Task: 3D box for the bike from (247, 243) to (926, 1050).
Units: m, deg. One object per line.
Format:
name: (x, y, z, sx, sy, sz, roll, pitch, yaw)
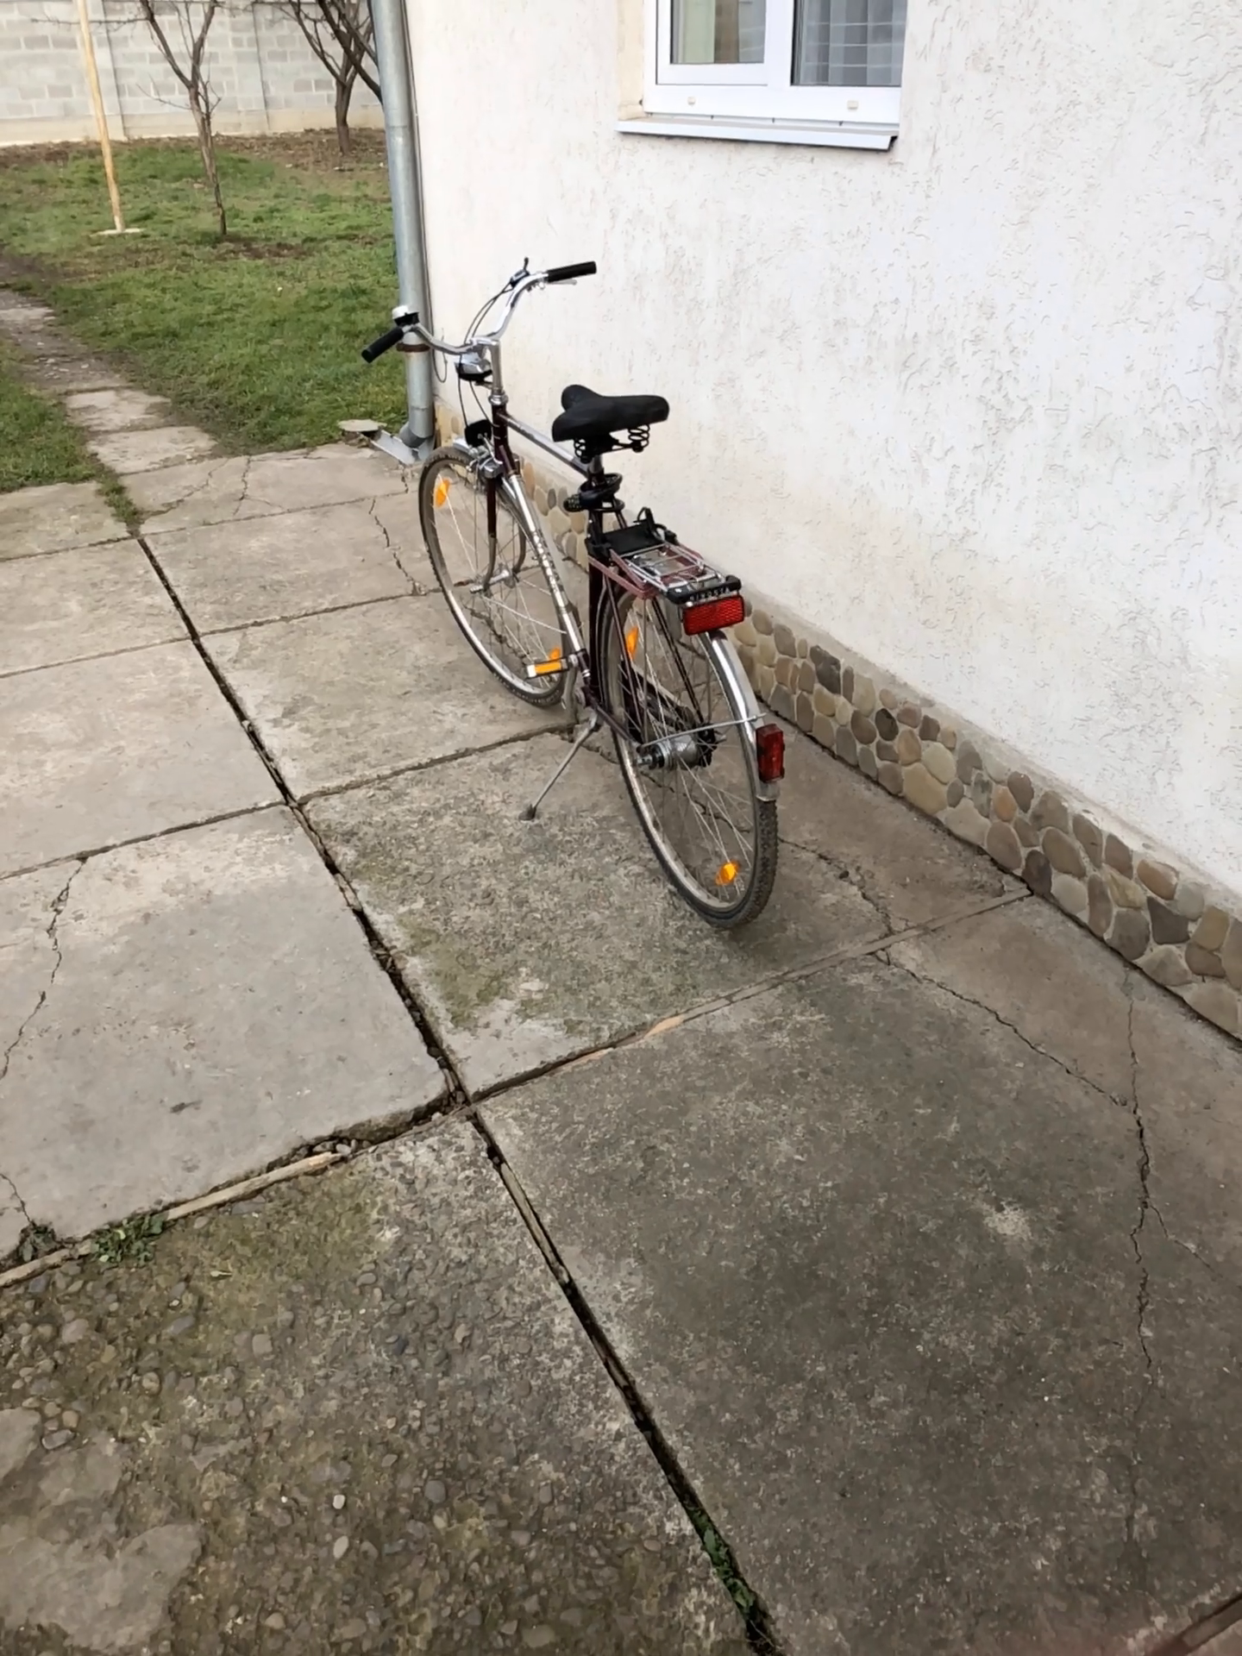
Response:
bike: (-0.199, -0.529, 2.801, 0.597, 1.054, 1.719, -14, 32, -22)
